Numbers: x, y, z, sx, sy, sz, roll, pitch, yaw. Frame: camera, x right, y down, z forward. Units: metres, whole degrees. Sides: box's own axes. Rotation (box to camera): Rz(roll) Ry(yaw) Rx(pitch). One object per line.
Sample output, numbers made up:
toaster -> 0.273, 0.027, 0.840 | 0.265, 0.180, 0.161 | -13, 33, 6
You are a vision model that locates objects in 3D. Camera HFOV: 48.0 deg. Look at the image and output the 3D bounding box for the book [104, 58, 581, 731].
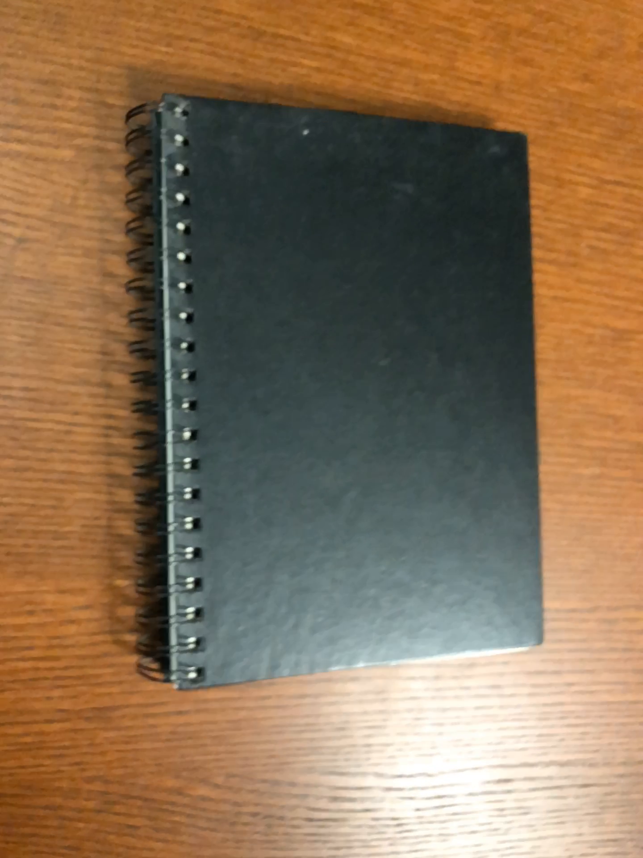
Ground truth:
book -> 0.013, -0.018, 0.320 | 0.200, 0.030, 0.260 | -2, 89, -16
